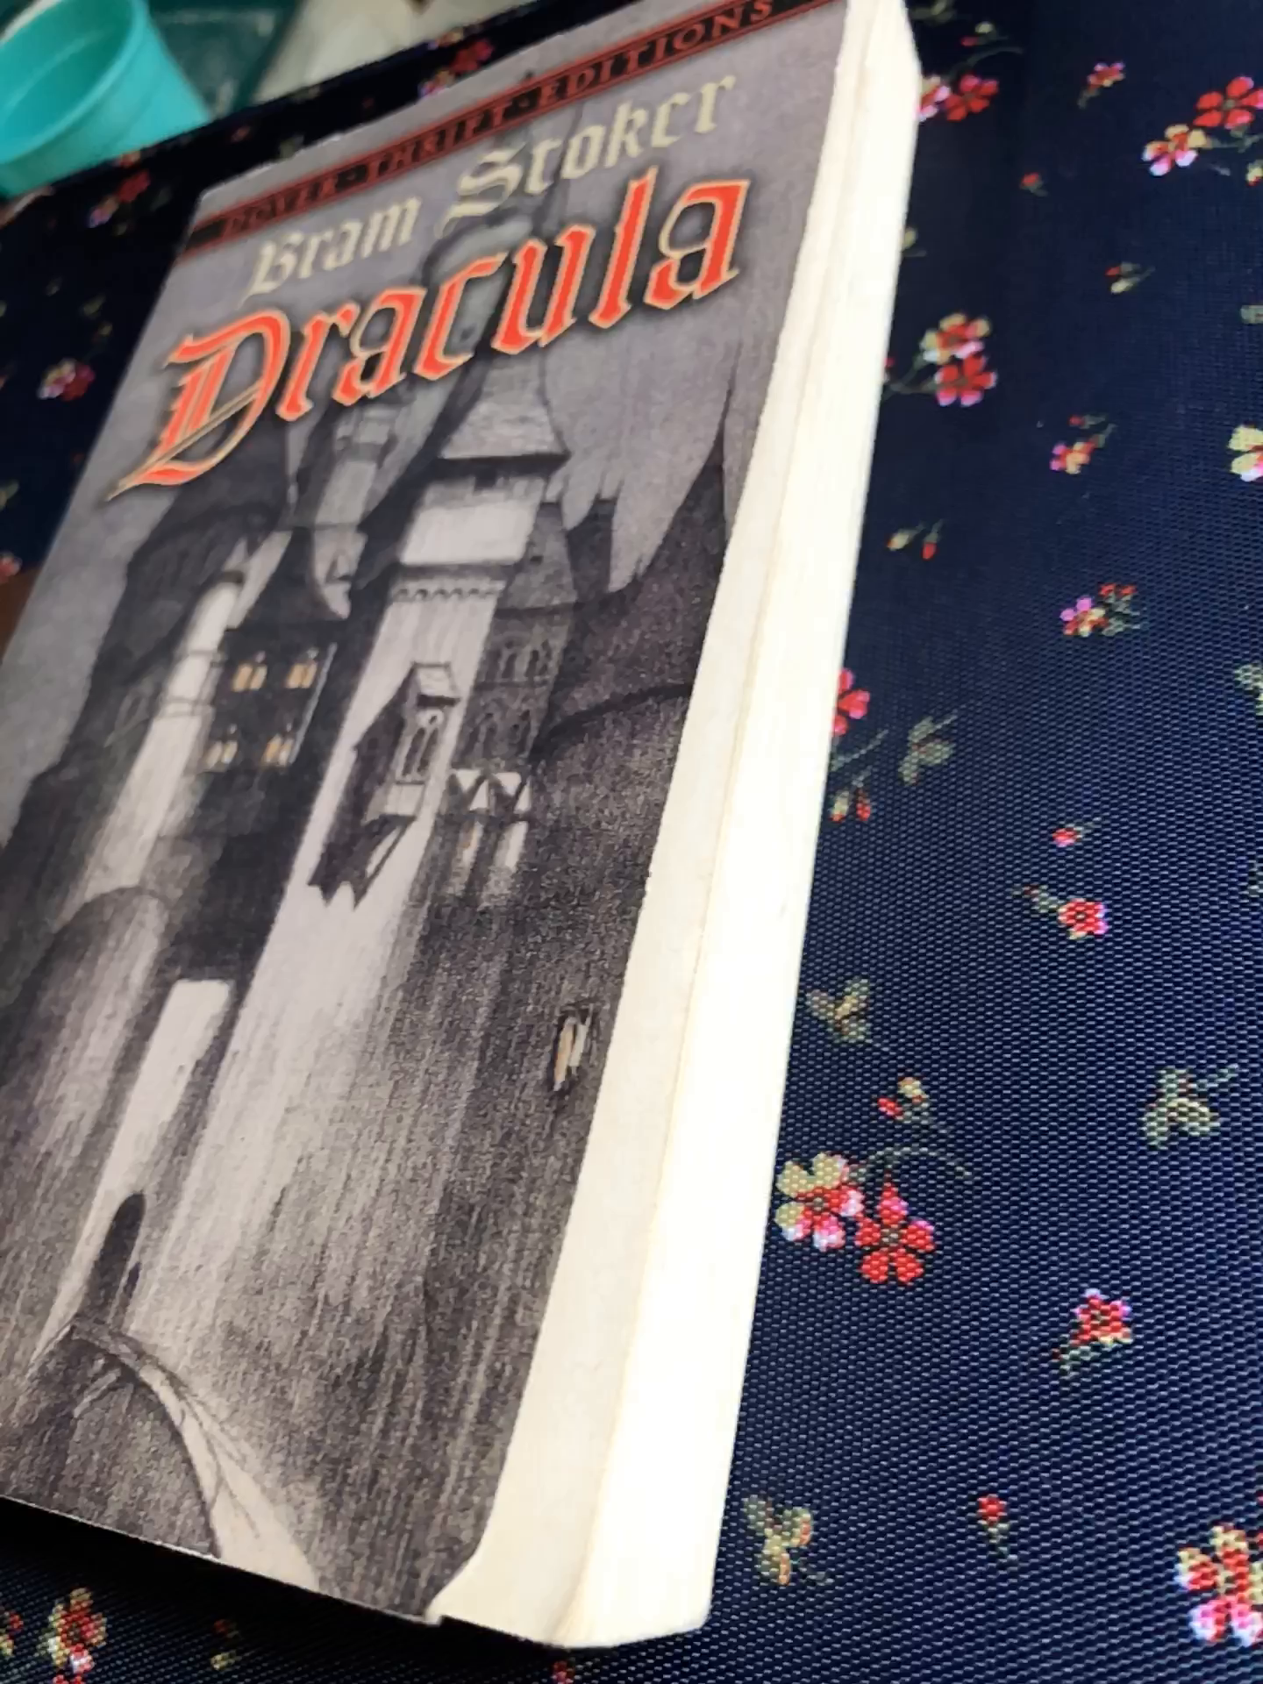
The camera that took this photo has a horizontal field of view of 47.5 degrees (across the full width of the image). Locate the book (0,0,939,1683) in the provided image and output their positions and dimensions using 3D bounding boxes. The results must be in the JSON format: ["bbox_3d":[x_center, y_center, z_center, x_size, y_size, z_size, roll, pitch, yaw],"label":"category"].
[{"bbox_3d":[-0.037,-0.019,0.189,0.130,0.033,0.203,-4,61,31],"label":"book"}]
